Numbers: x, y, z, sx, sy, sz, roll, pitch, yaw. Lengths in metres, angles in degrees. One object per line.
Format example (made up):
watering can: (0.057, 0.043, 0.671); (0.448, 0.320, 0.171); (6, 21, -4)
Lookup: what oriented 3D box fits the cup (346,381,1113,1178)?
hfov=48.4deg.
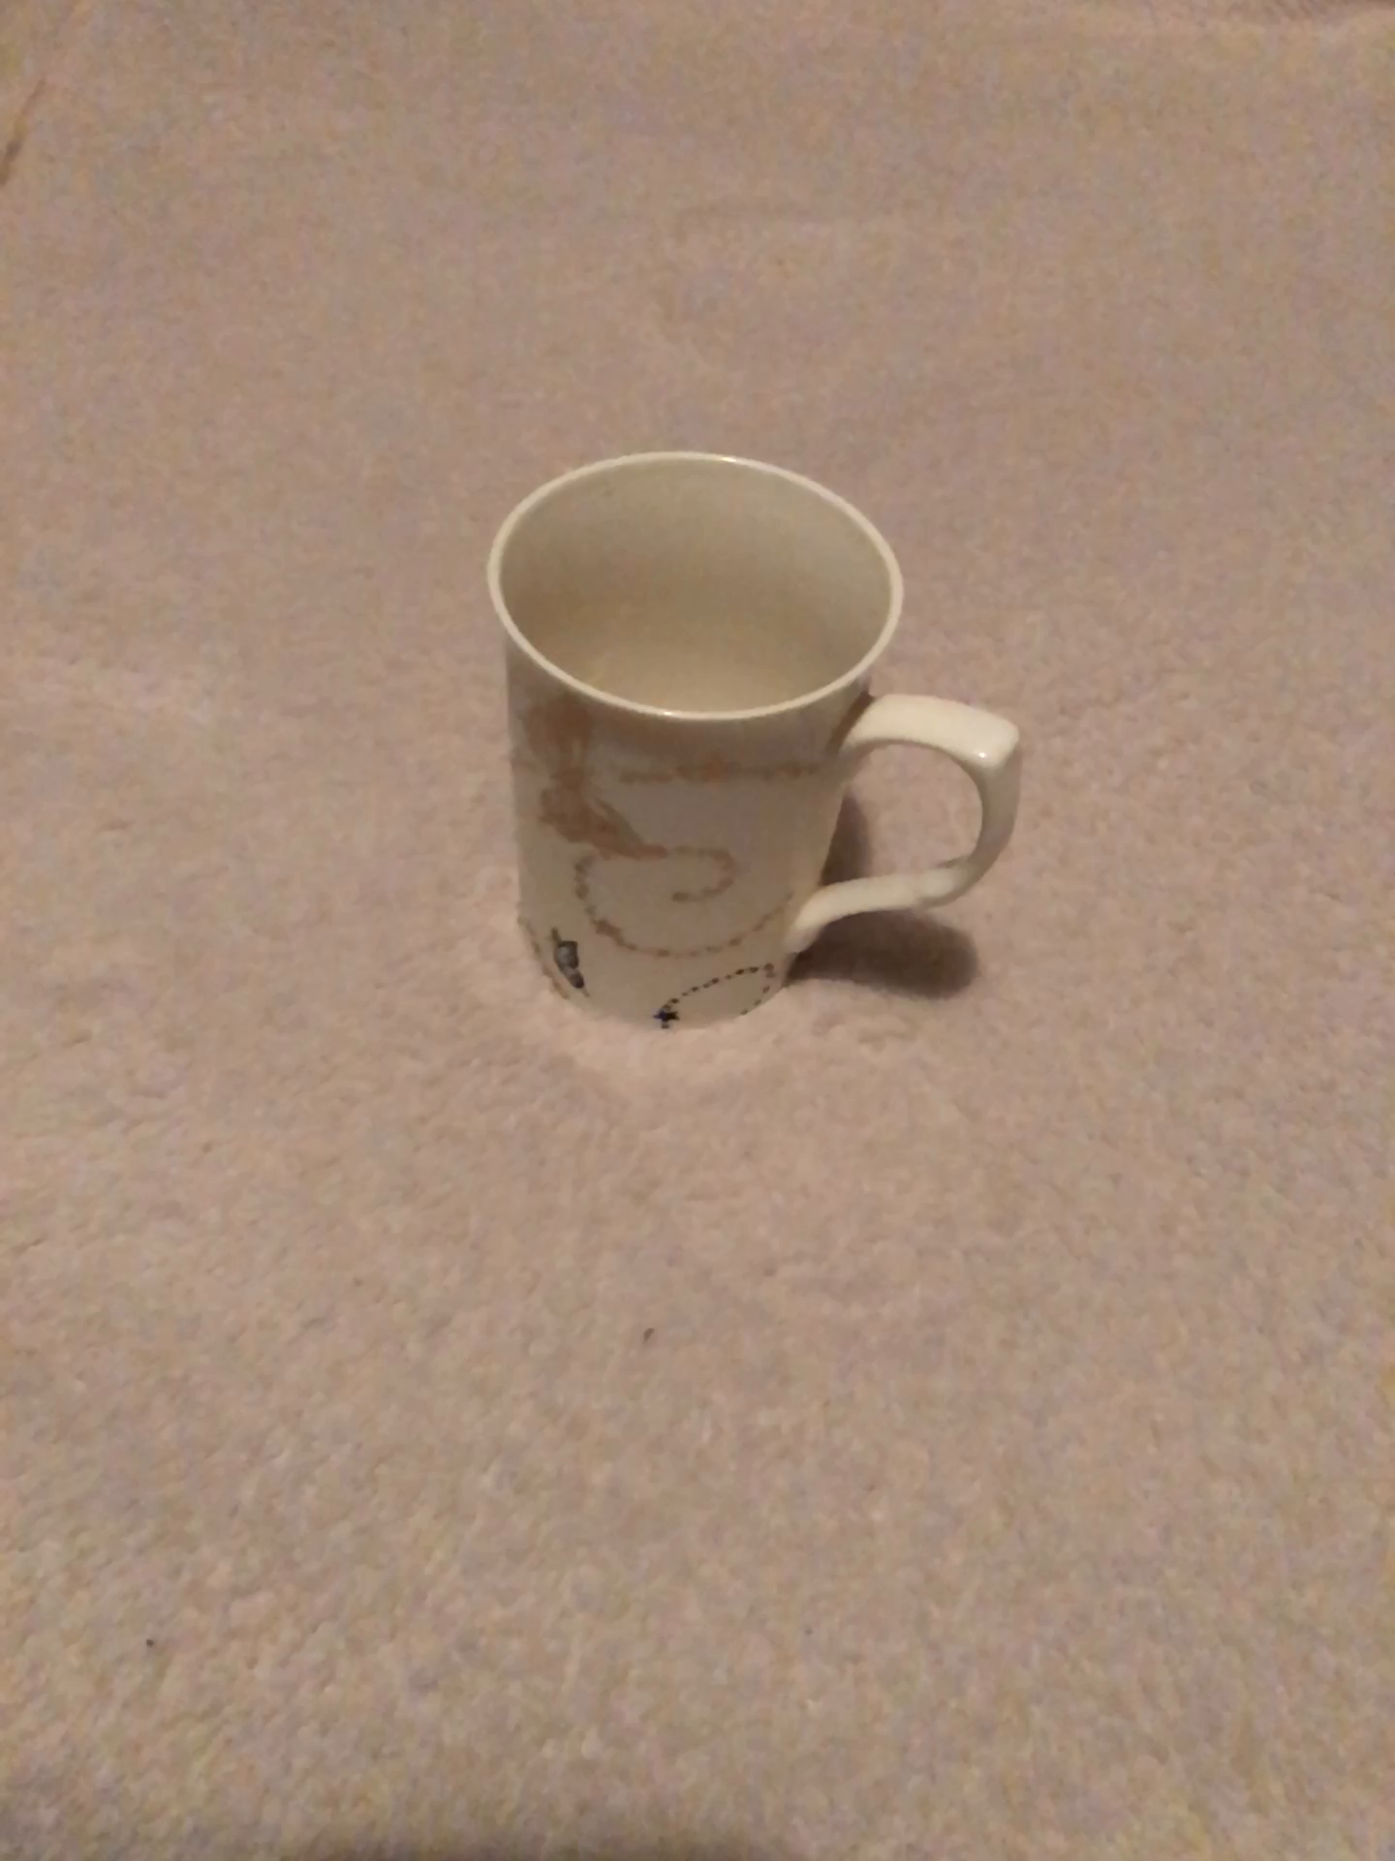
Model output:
cup: (0.006, -0.028, 0.310); (0.112, 0.110, 0.074); (20, 54, 13)
